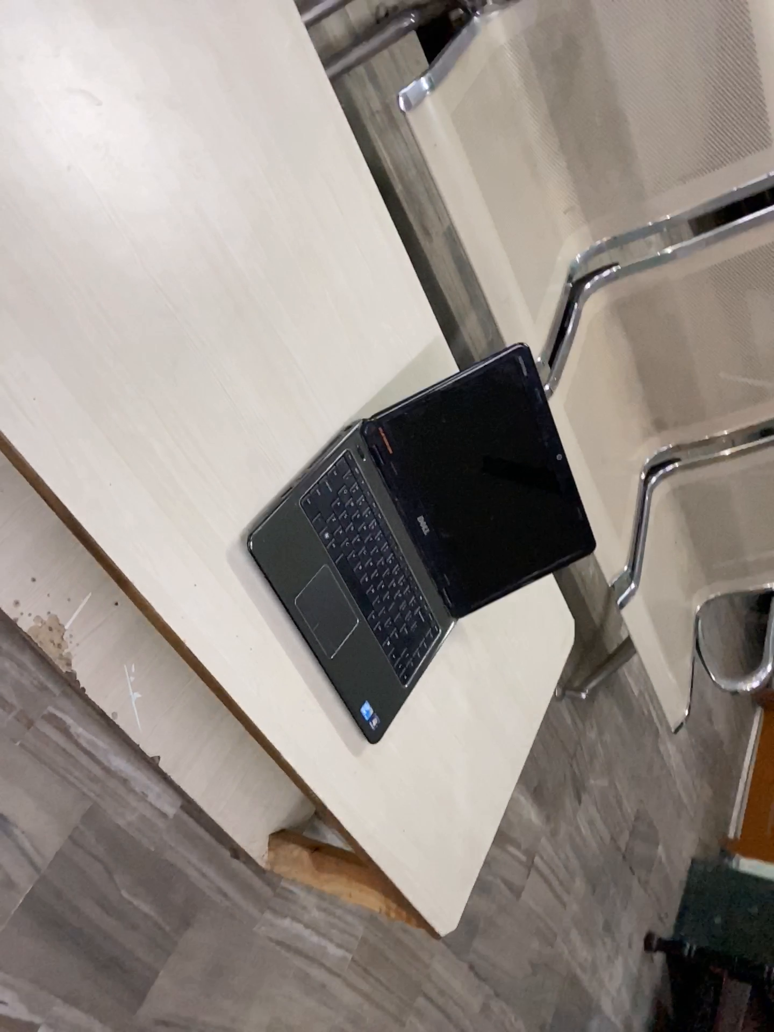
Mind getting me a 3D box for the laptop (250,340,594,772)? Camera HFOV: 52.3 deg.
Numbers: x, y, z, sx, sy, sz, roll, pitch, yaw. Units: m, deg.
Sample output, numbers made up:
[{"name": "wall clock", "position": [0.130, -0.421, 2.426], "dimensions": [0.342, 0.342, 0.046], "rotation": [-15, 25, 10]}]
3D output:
[{"name": "laptop", "position": [0.075, 0.038, 0.955], "dimensions": [0.379, 0.152, 0.330], "rotation": [-52, 129, -36]}]
